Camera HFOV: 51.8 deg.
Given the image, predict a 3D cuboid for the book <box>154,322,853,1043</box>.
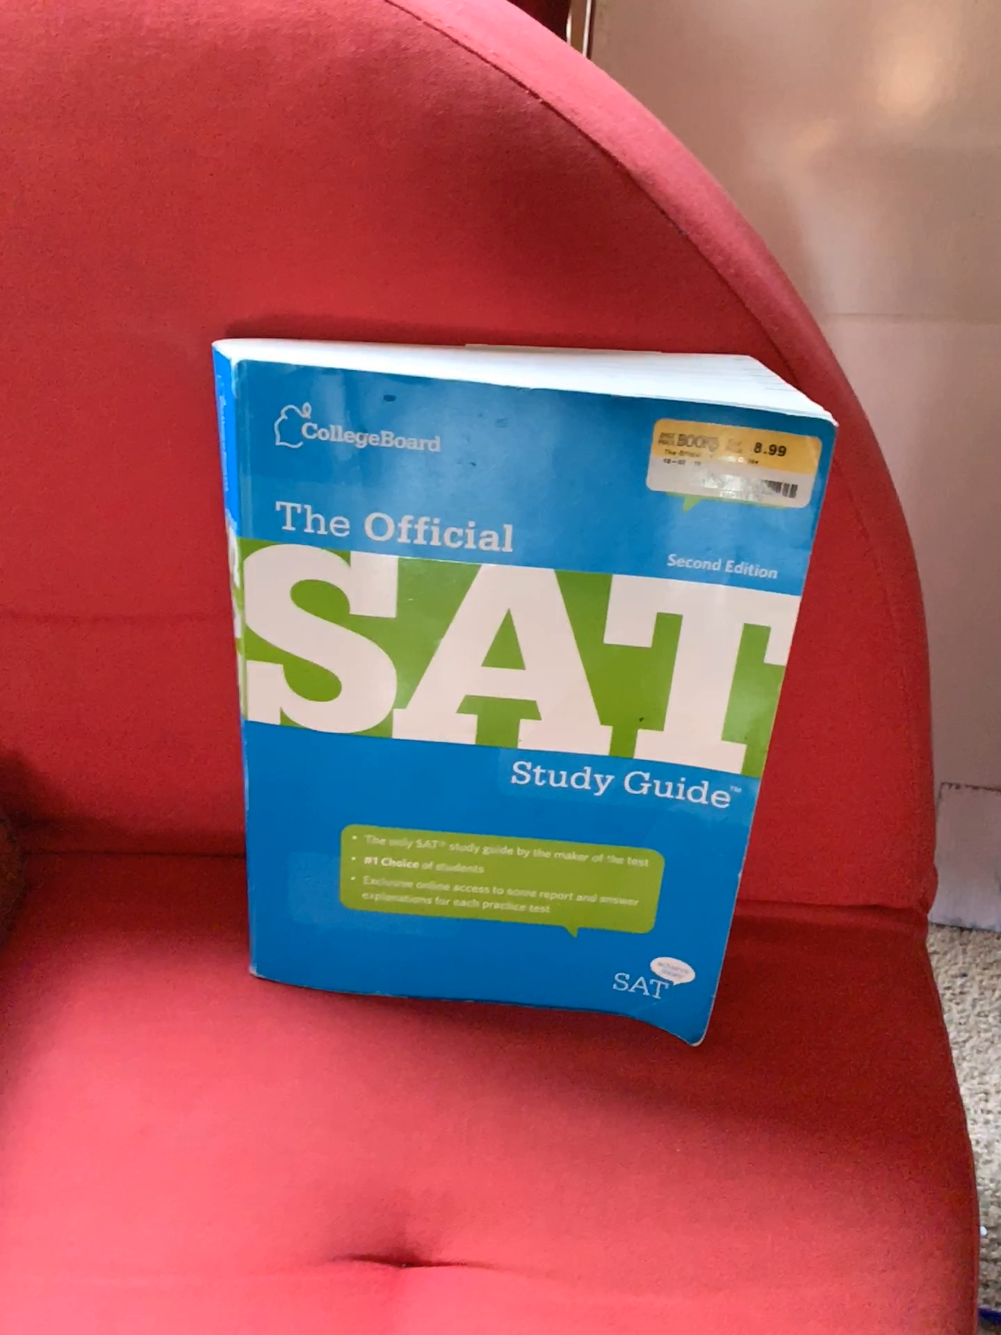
[{"bbox_3d":[-0.006,0.004,0.417,0.230,0.259,0.080,5,19,5],"label":"book"}]
